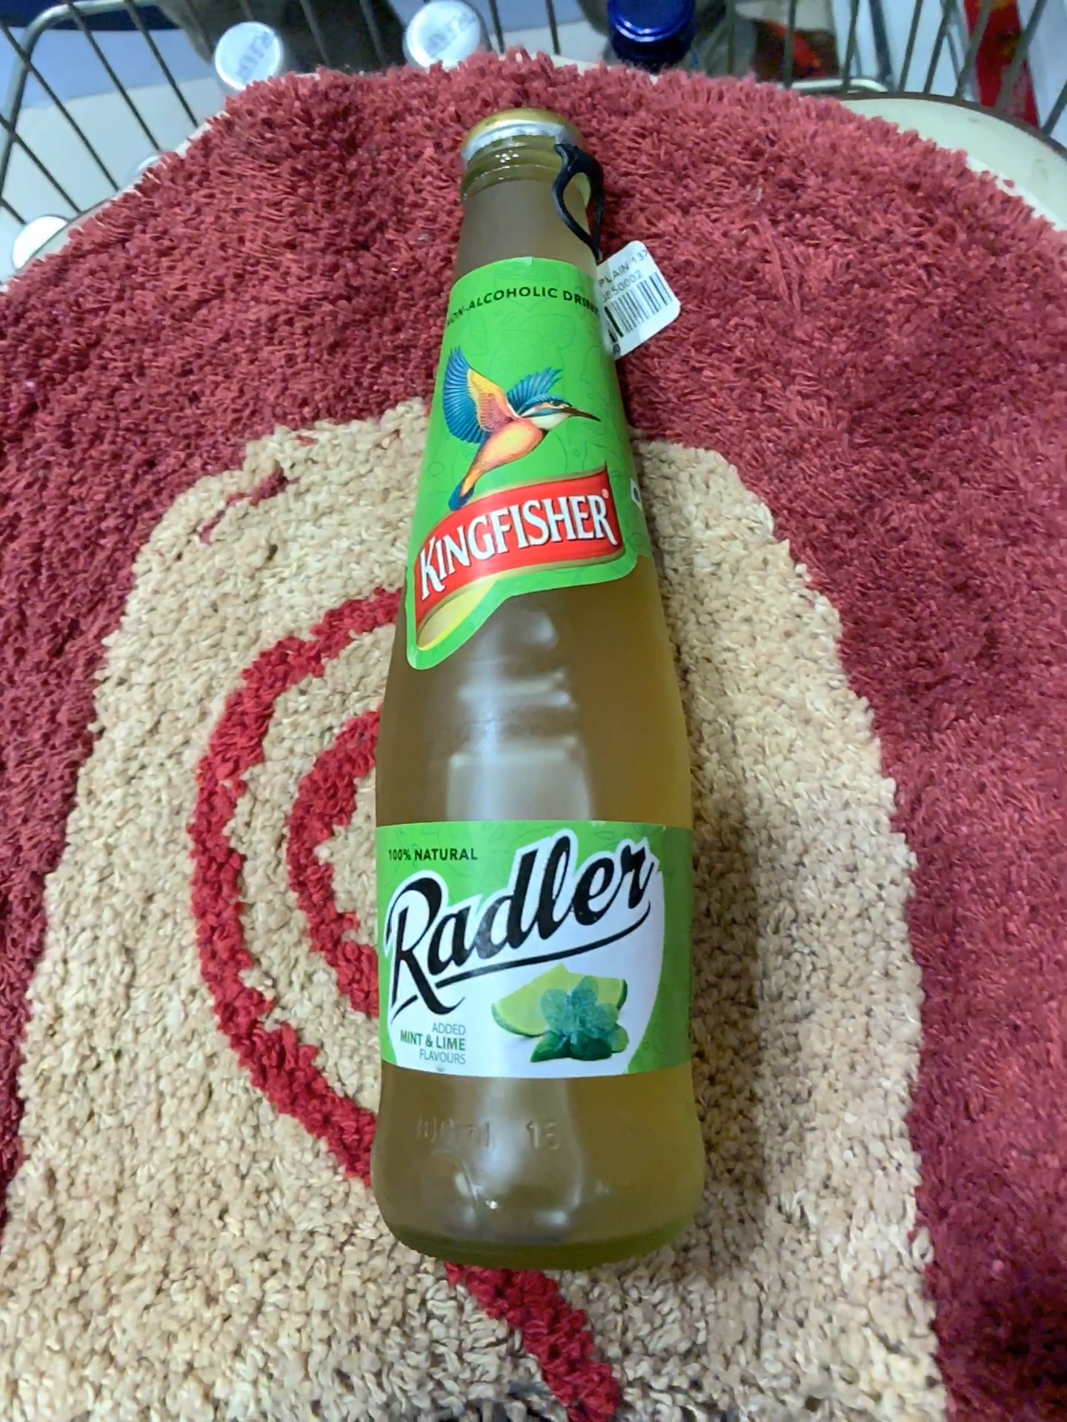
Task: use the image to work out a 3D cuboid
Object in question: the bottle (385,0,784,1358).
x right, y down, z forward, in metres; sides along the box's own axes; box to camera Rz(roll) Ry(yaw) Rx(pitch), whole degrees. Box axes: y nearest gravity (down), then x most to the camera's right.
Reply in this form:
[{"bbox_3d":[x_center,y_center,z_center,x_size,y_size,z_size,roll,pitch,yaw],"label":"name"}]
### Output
[{"bbox_3d":[0.011,-0.018,0.216,0.060,0.060,0.240,-2,80,10],"label":"bottle"}]
